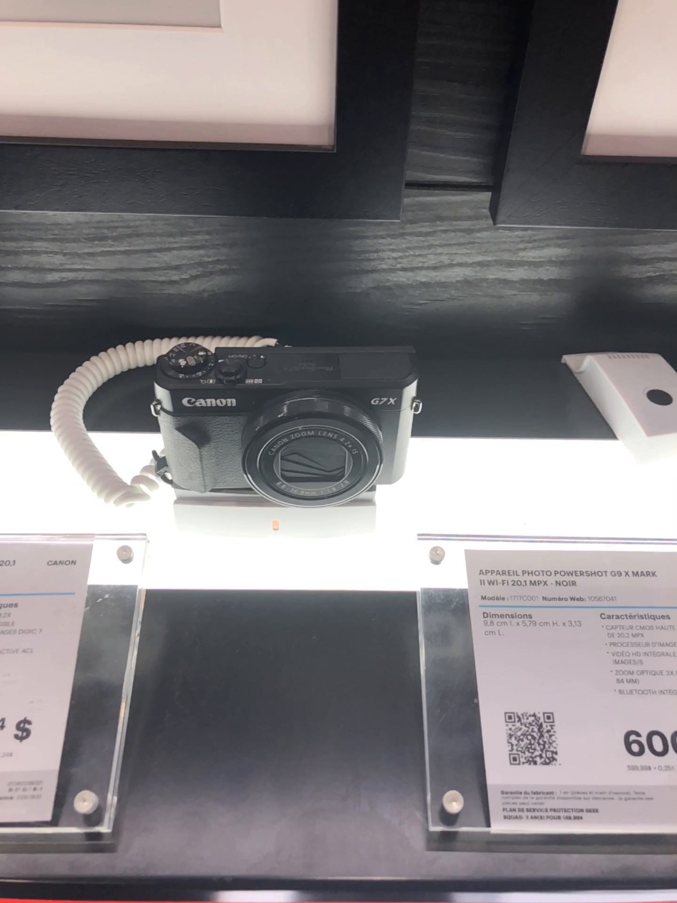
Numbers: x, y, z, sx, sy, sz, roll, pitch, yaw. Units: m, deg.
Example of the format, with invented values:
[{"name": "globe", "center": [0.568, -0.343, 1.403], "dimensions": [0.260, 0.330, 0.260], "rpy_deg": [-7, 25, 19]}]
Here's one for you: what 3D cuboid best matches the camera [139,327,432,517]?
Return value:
[{"name": "camera", "center": [-0.021, -0.011, 0.319], "dimensions": [0.110, 0.079, 0.030], "rpy_deg": [0, 43, -3]}]
